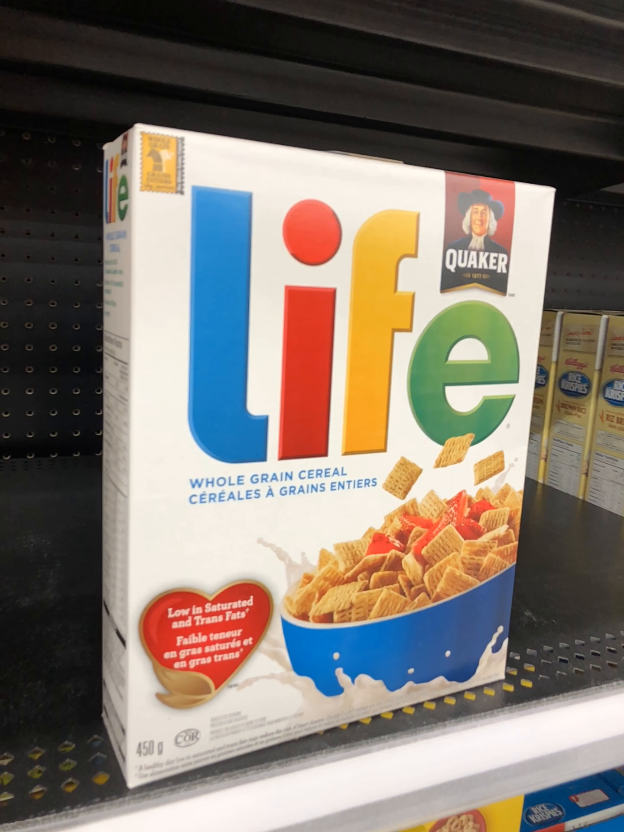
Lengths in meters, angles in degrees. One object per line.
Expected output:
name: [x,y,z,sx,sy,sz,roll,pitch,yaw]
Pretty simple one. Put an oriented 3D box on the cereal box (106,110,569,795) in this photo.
cereal box: [0.011,0.015,0.325,0.200,0.259,0.060,-2,12,-28]
